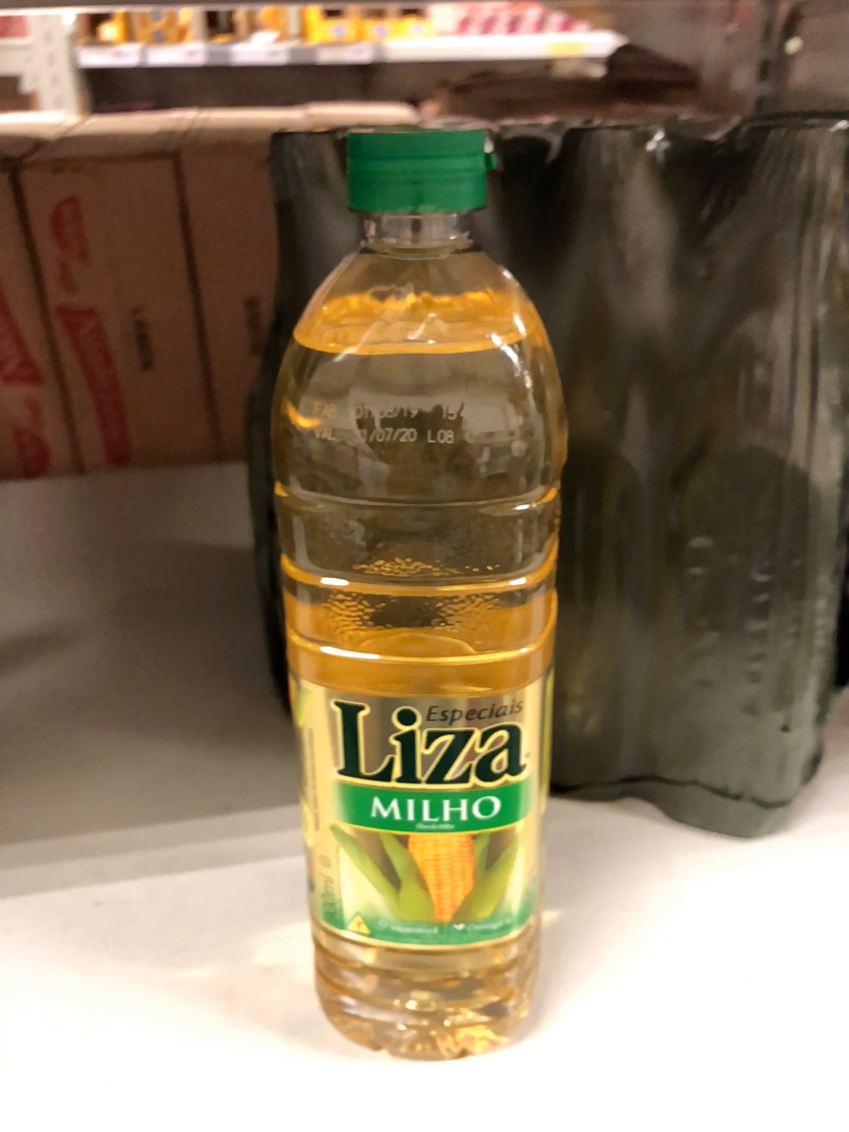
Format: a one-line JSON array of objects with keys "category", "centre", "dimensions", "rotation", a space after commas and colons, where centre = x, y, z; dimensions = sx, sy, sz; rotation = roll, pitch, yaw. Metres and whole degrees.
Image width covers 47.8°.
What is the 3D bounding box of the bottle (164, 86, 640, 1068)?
[{"category": "bottle", "centre": [0.000, 0.016, 0.249], "dimensions": [0.080, 0.248, 0.070], "rotation": [-2, 27, 1]}]
